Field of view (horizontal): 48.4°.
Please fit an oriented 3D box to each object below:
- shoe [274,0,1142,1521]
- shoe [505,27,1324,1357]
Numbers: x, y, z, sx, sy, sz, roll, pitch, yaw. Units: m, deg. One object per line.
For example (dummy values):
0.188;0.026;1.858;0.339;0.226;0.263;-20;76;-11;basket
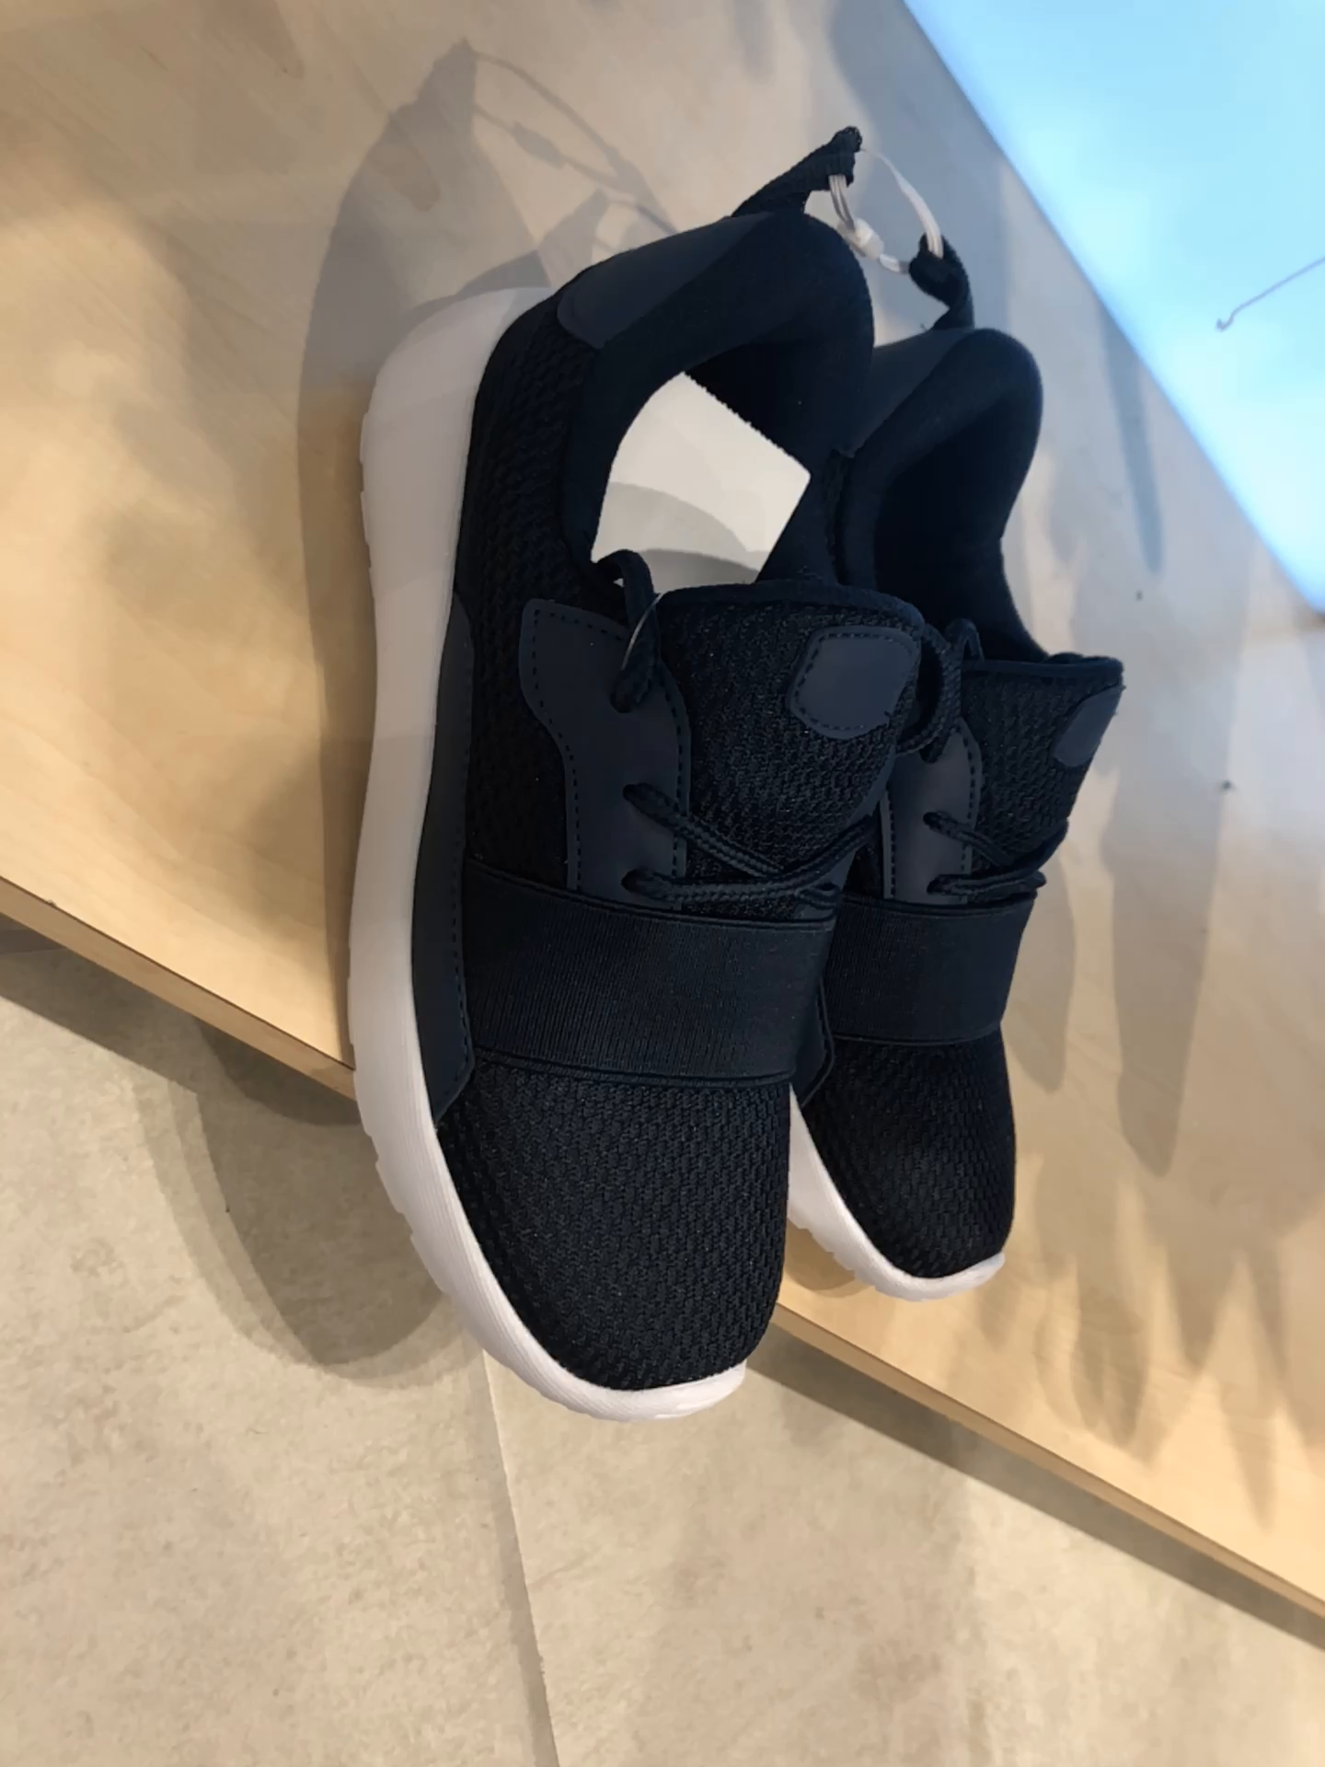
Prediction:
0.002;-0.024;0.275;0.091;0.099;0.240;5;74;-47;shoe
0.057;-0.031;0.327;0.101;0.099;0.240;-5;82;-49;shoe
